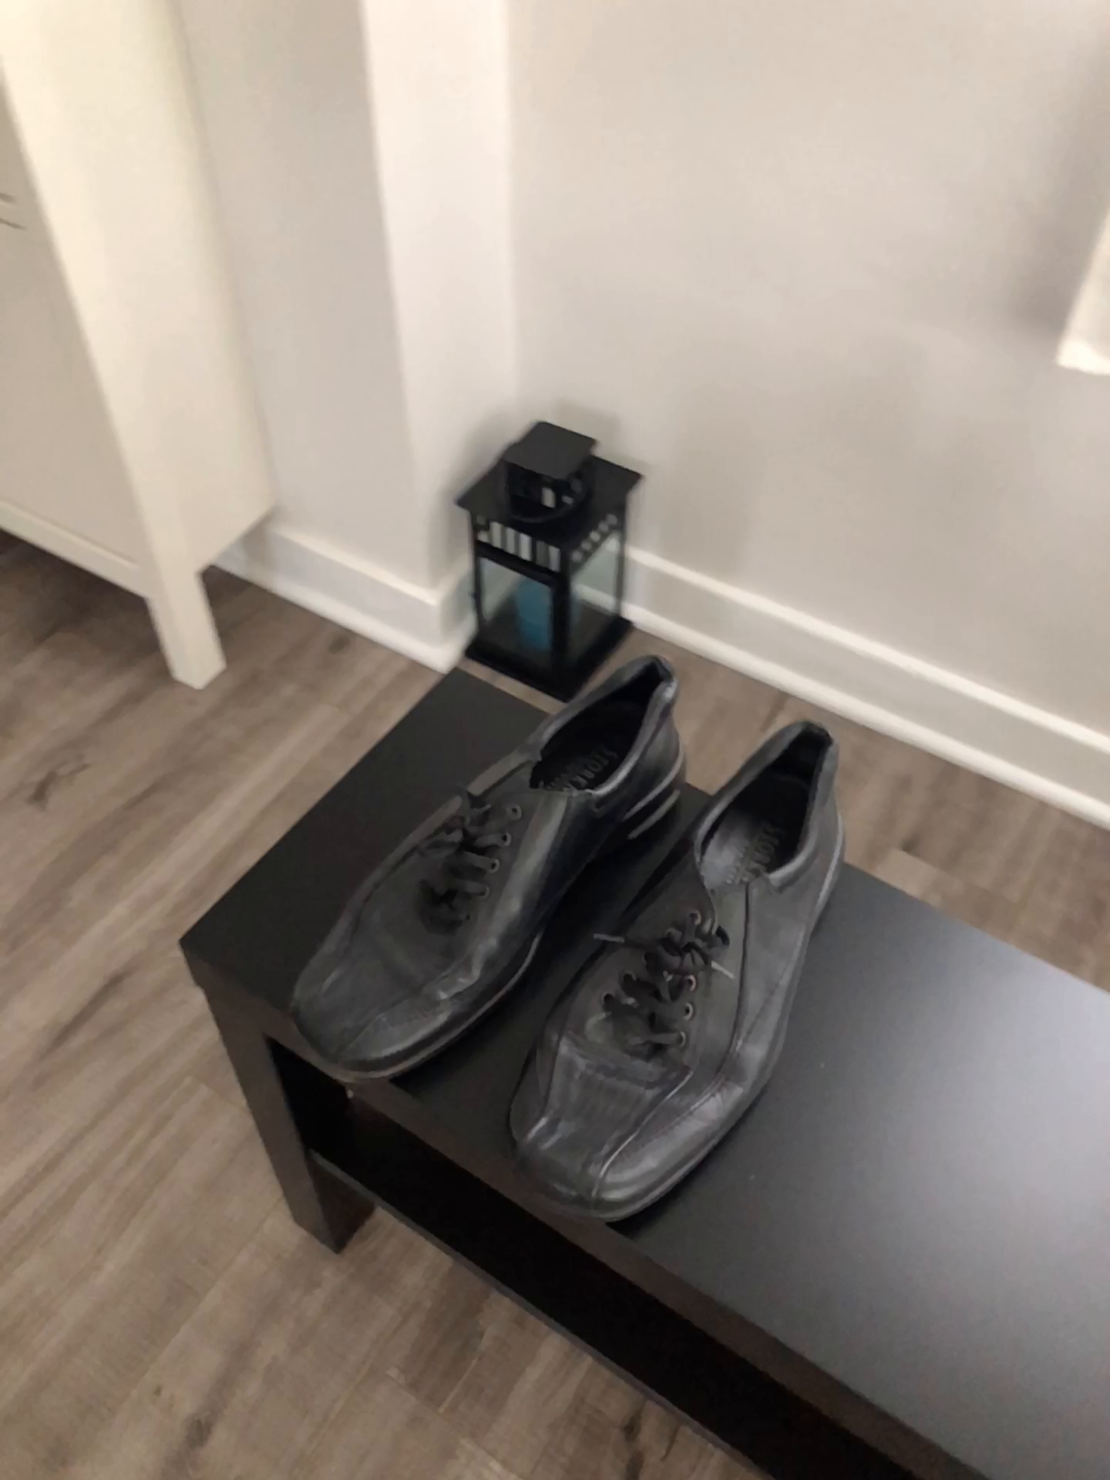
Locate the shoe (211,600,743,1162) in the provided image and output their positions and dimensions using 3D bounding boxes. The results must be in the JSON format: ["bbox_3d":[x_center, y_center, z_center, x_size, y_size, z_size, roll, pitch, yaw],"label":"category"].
[{"bbox_3d":[-0.029,0.065,0.665,0.110,0.110,0.286,32,57,24],"label":"shoe"}]

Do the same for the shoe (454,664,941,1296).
[{"bbox_3d":[0.079,0.108,0.620,0.110,0.110,0.283,26,55,20],"label":"shoe"}]
